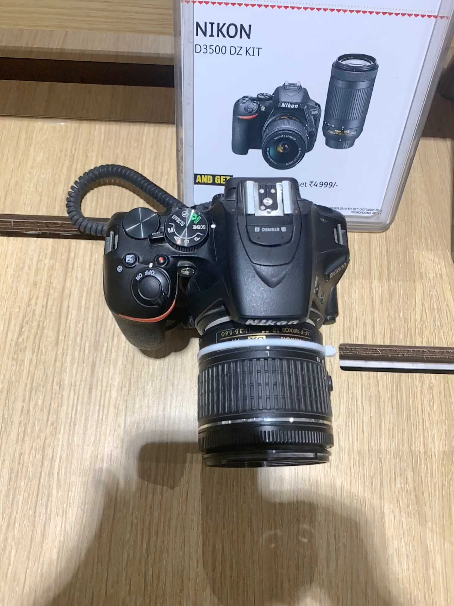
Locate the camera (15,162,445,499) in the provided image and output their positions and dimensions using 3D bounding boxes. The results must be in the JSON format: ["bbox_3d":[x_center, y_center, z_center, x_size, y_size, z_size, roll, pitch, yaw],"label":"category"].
[{"bbox_3d":[0.001,0.020,0.210,0.130,0.100,0.120,1,68,-1],"label":"camera"}]
